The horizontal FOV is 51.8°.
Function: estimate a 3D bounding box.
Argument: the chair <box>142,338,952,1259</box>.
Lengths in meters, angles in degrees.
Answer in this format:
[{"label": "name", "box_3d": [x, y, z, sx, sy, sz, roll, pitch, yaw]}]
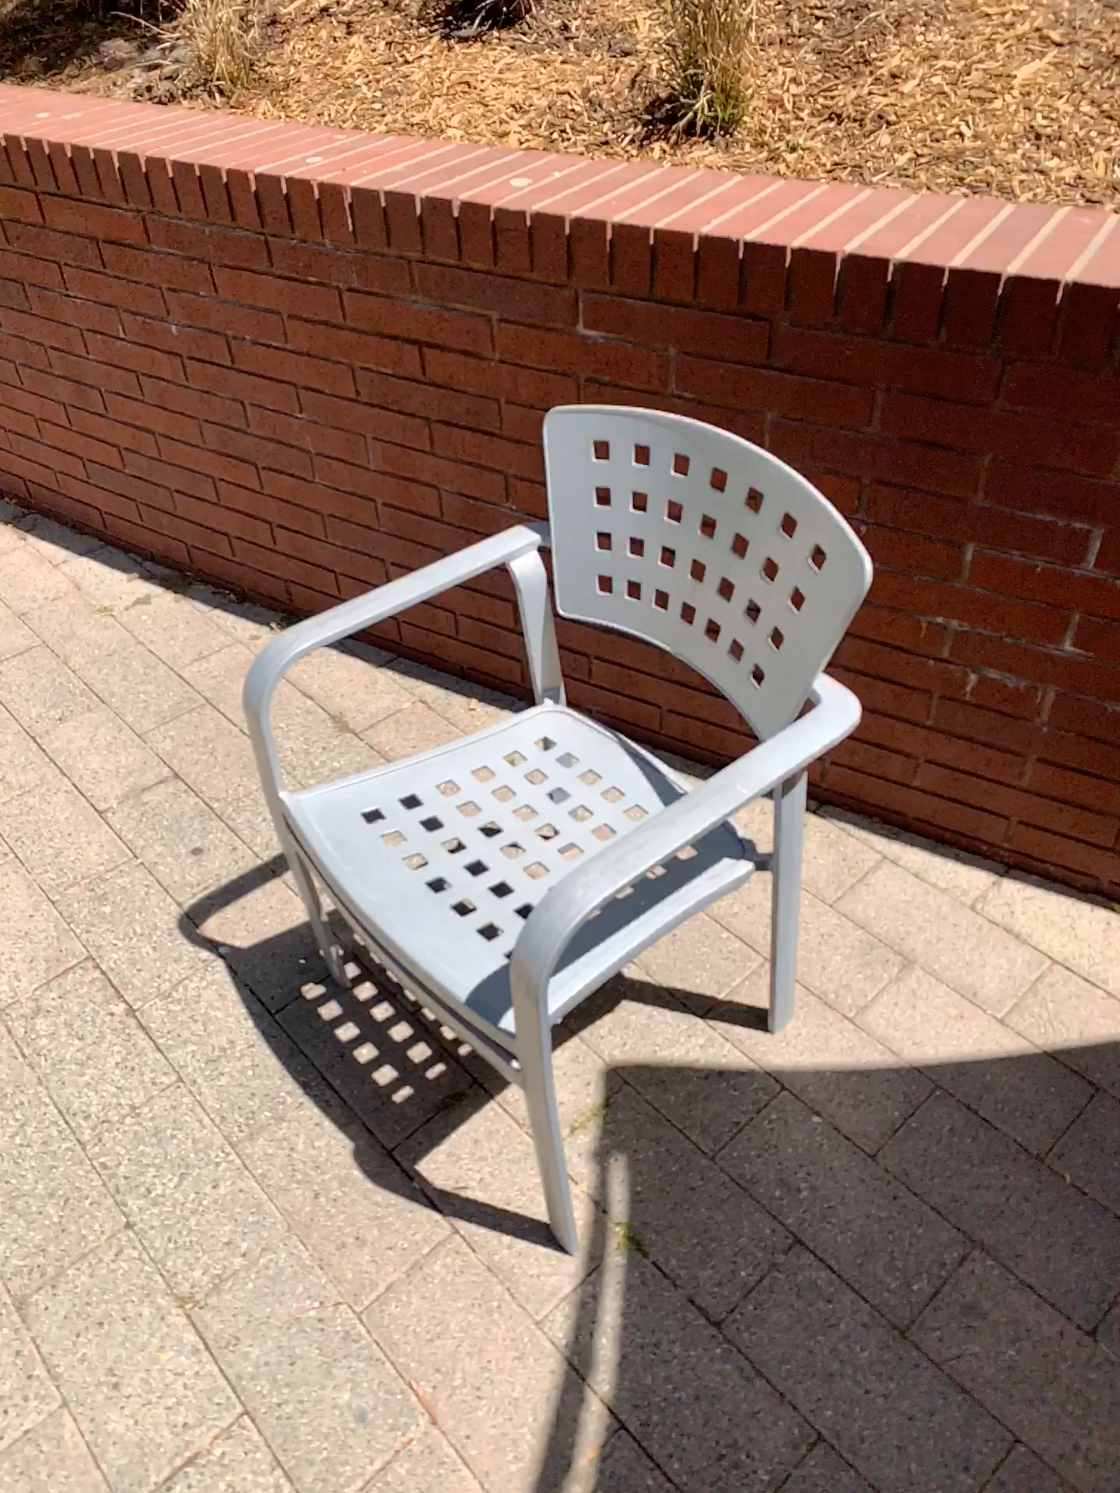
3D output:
[{"label": "chair", "box_3d": [-0.015, 0.032, 1.283, 0.498, 0.698, 0.564, -31, 47, -29]}]
